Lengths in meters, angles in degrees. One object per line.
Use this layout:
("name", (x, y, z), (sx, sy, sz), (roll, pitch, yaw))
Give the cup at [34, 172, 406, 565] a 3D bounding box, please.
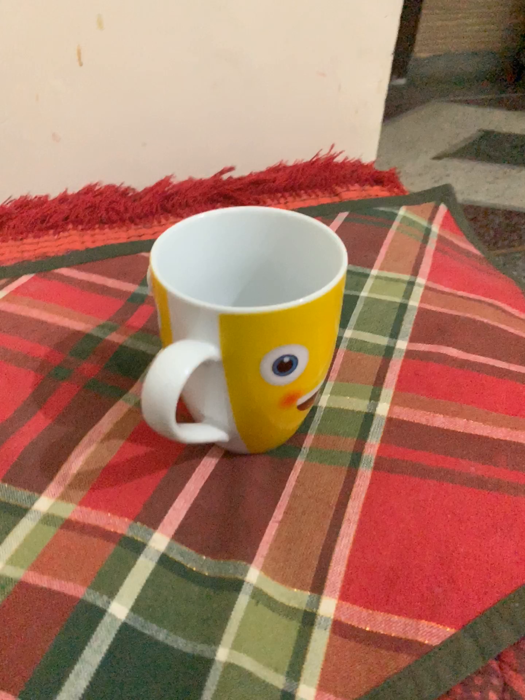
("cup", (-0.007, -0.003, 0.217), (0.080, 0.080, 0.120), (20, 45, 19))
